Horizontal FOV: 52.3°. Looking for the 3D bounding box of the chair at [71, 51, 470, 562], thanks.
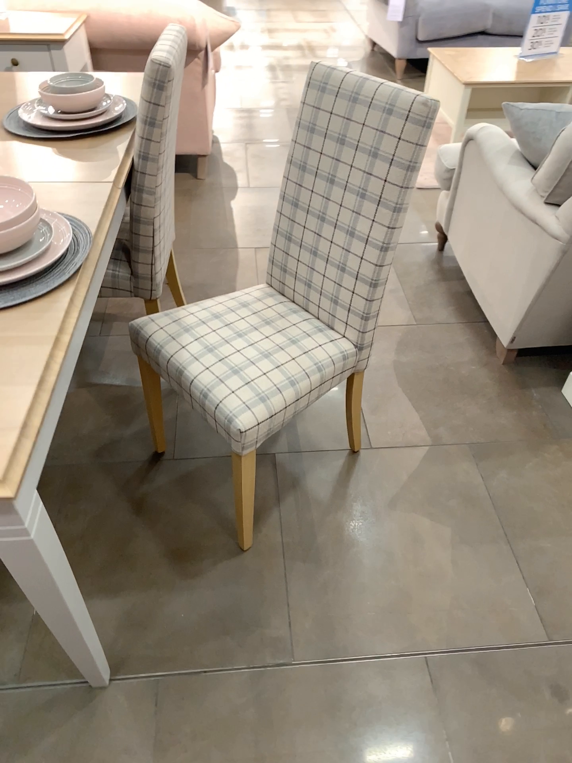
[{"bbox_3d":[-0.027,-0.149,1.349,0.568,0.938,0.430,-32,52,-31],"label":"chair"}]
